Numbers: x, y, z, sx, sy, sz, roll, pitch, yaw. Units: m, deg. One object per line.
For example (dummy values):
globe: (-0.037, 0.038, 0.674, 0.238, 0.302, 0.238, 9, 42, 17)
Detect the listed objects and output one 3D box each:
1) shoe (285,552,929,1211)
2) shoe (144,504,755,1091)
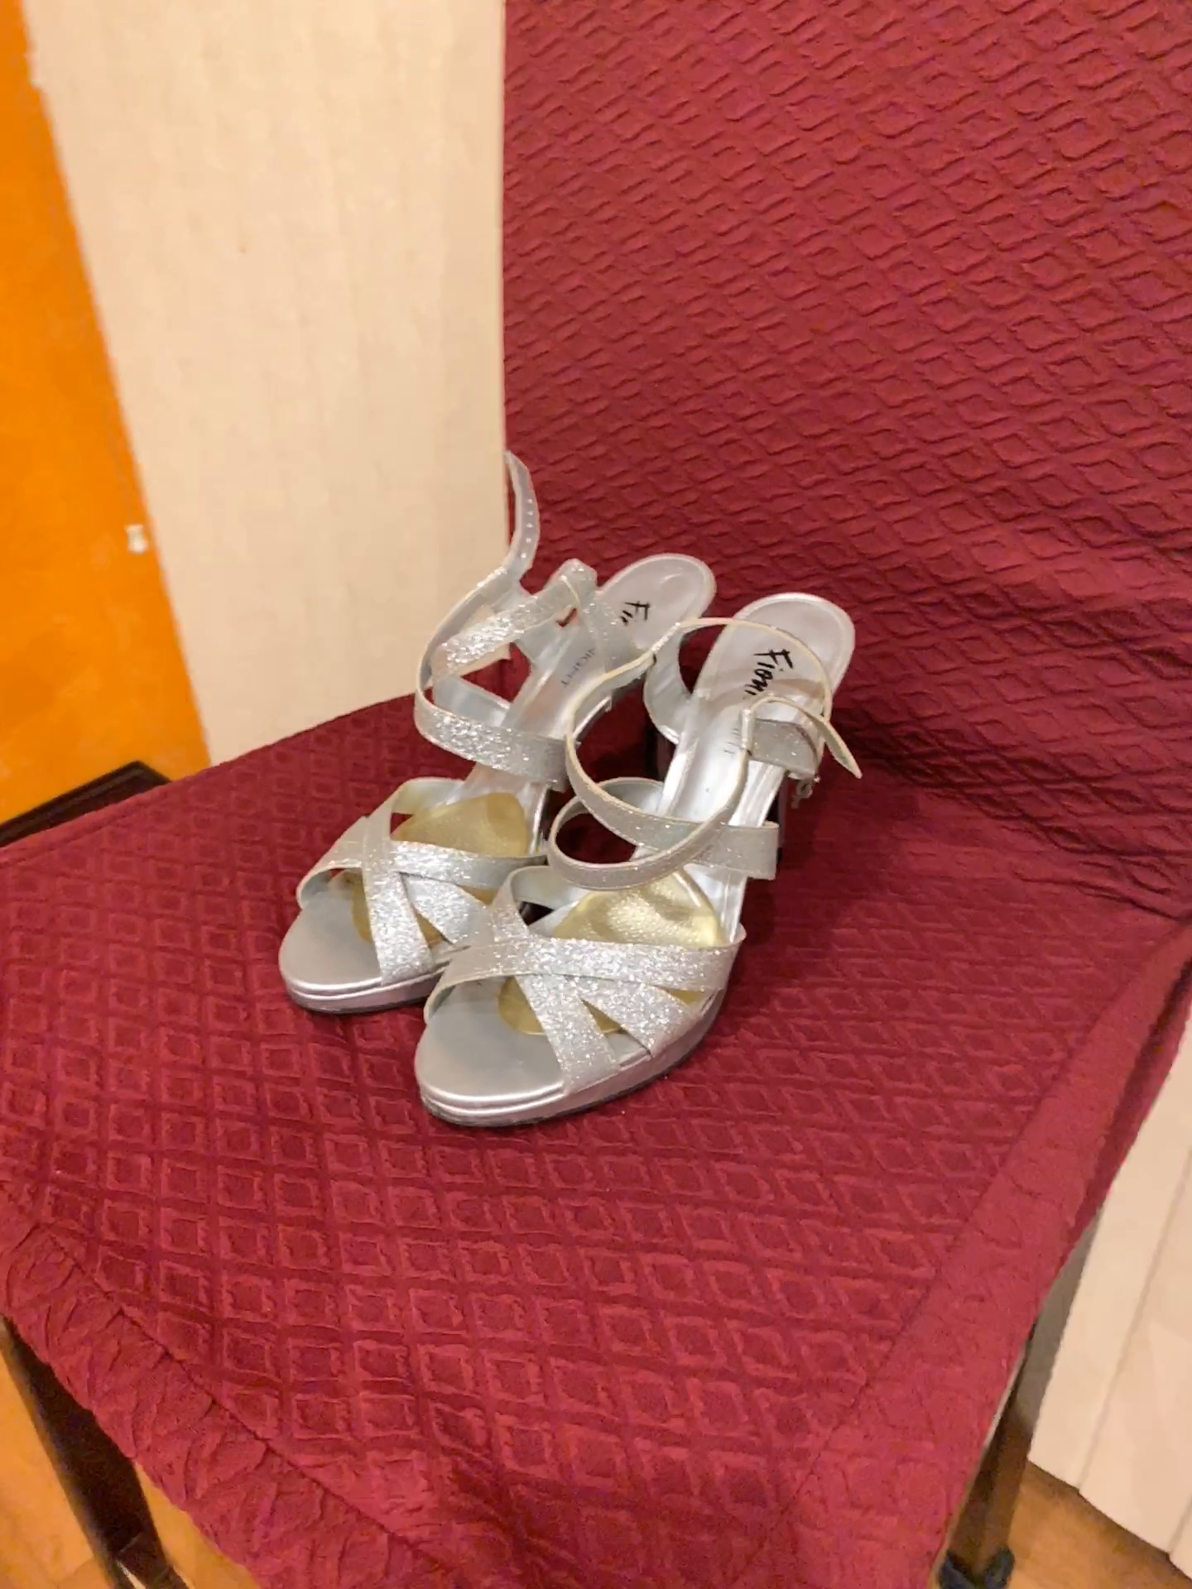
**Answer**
shoe: (0.017, 0.015, 0.448, 0.100, 0.119, 0.221, 24, 42, 34)
shoe: (-0.041, -0.015, 0.497, 0.100, 0.119, 0.231, 22, 41, 32)
